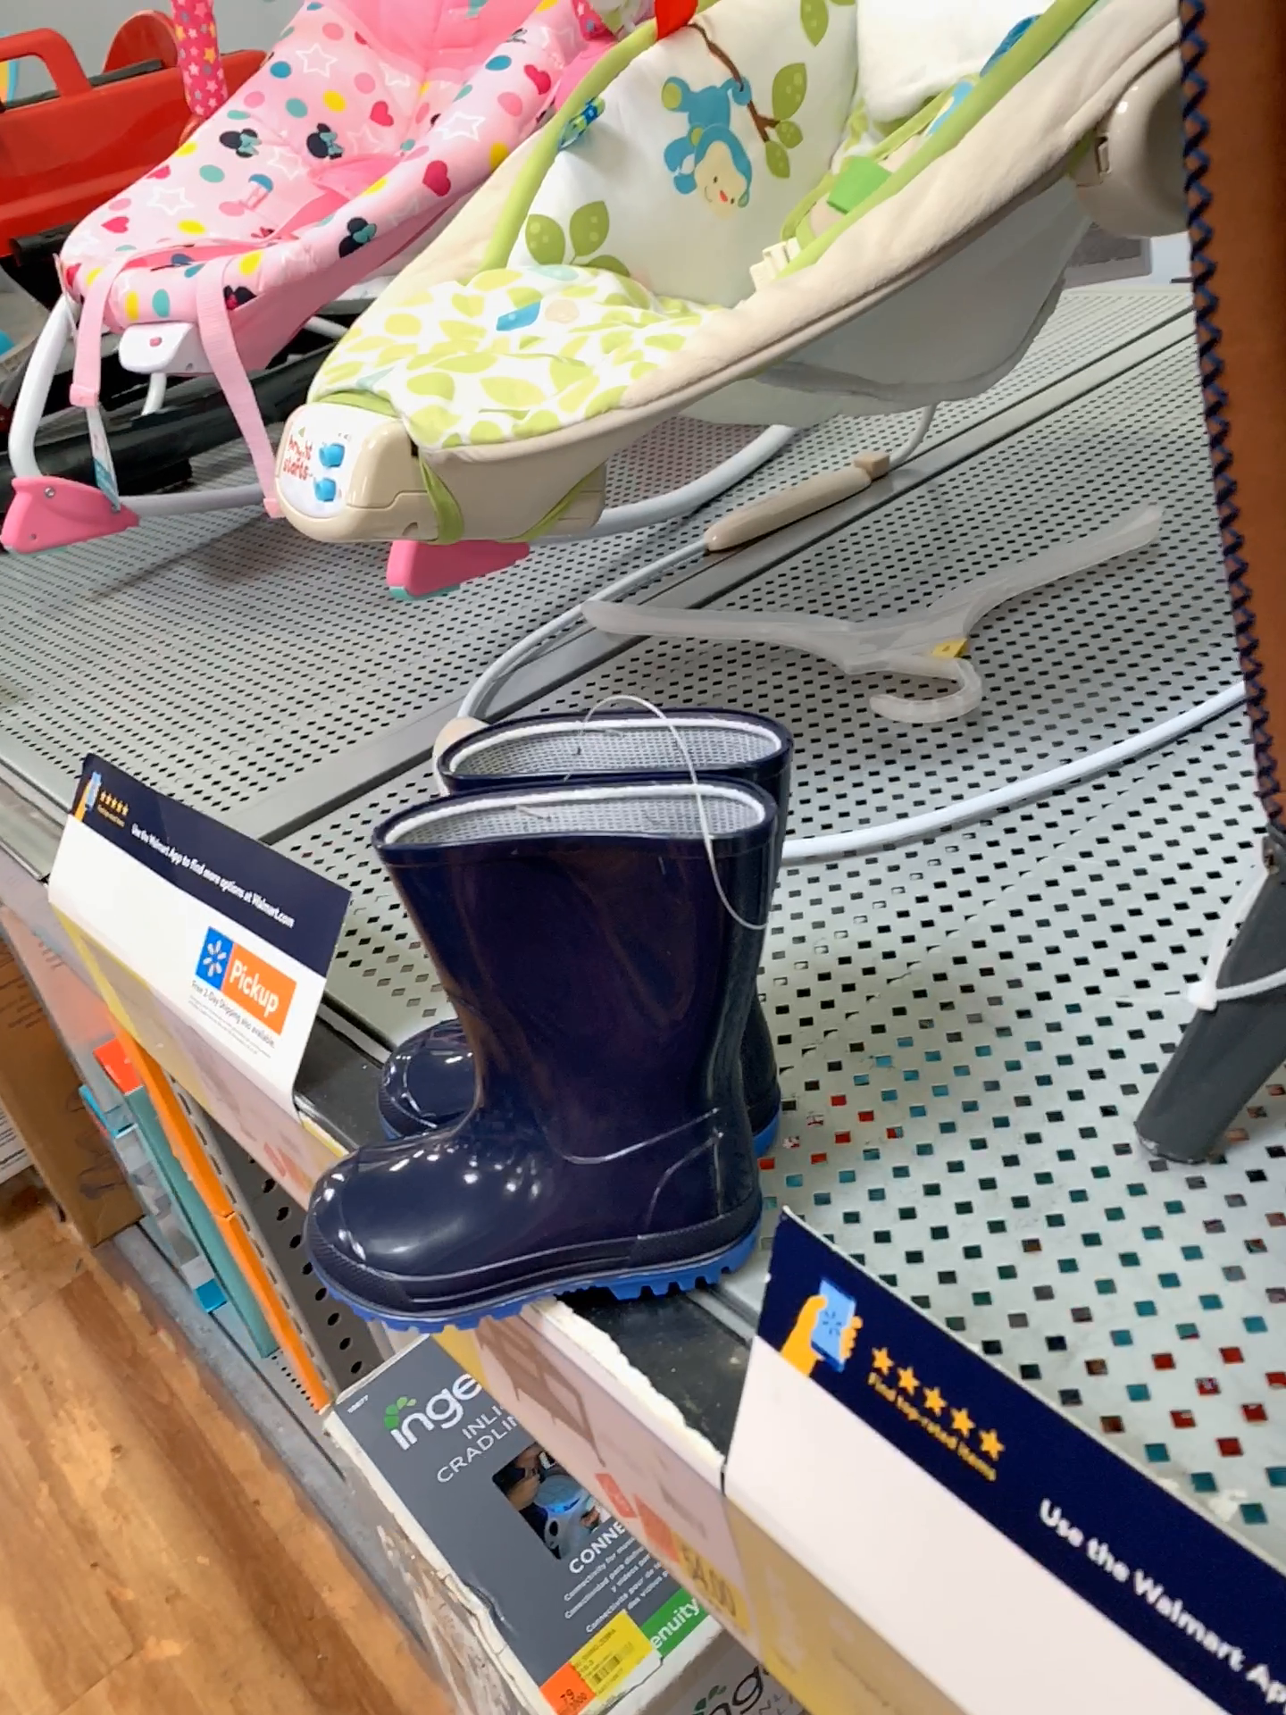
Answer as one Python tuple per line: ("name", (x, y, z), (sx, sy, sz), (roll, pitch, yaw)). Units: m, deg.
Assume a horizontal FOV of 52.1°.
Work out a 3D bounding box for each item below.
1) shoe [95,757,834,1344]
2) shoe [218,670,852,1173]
("shoe", (-0.039, 0.061, 0.388), (0.174, 0.143, 0.076), (-6, 29, 11))
("shoe", (-0.026, 0.026, 0.443), (0.173, 0.143, 0.075), (-3, 29, 15))
